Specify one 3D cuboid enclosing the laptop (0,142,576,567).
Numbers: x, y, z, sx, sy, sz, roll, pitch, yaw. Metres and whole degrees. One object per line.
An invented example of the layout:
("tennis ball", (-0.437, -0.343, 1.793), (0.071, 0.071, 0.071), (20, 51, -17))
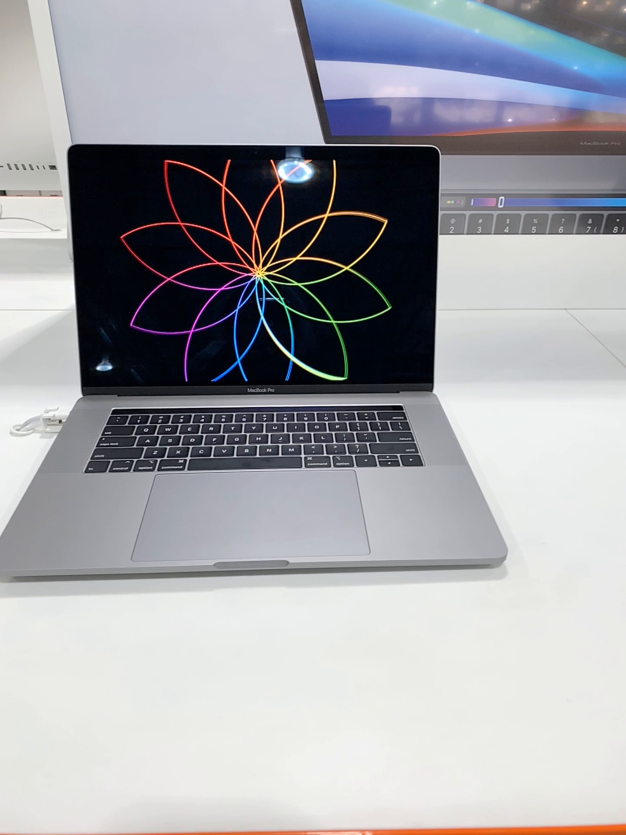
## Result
("laptop", (-0.046, -0.074, 0.485), (0.330, 0.205, 0.304), (-1, 30, -4))
